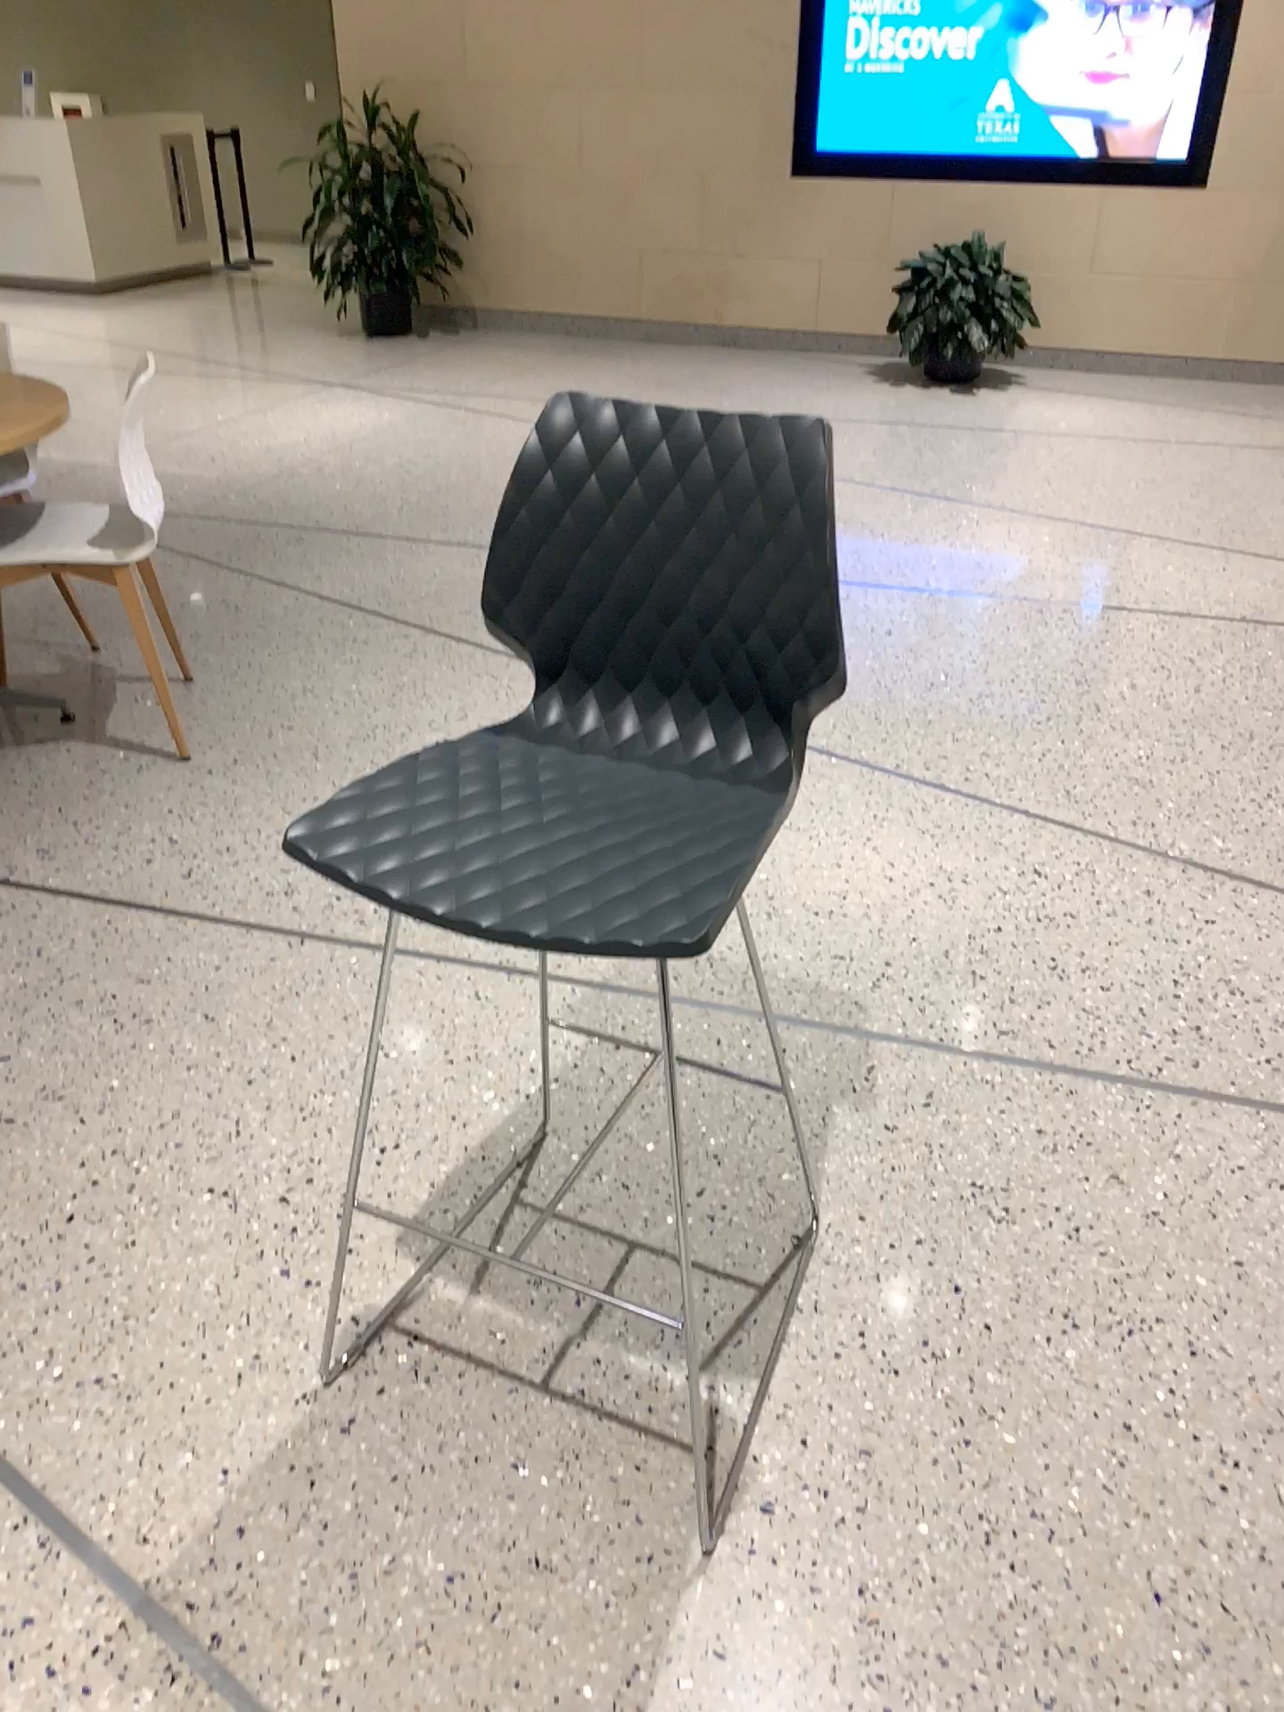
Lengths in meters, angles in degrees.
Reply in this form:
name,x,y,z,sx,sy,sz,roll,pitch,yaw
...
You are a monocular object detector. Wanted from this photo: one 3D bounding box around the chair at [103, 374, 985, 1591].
name,x,y,z,sx,sy,sz,roll,pitch,yaw
chair,-0.051,0.102,1.336,0.535,0.996,0.535,15,33,22
